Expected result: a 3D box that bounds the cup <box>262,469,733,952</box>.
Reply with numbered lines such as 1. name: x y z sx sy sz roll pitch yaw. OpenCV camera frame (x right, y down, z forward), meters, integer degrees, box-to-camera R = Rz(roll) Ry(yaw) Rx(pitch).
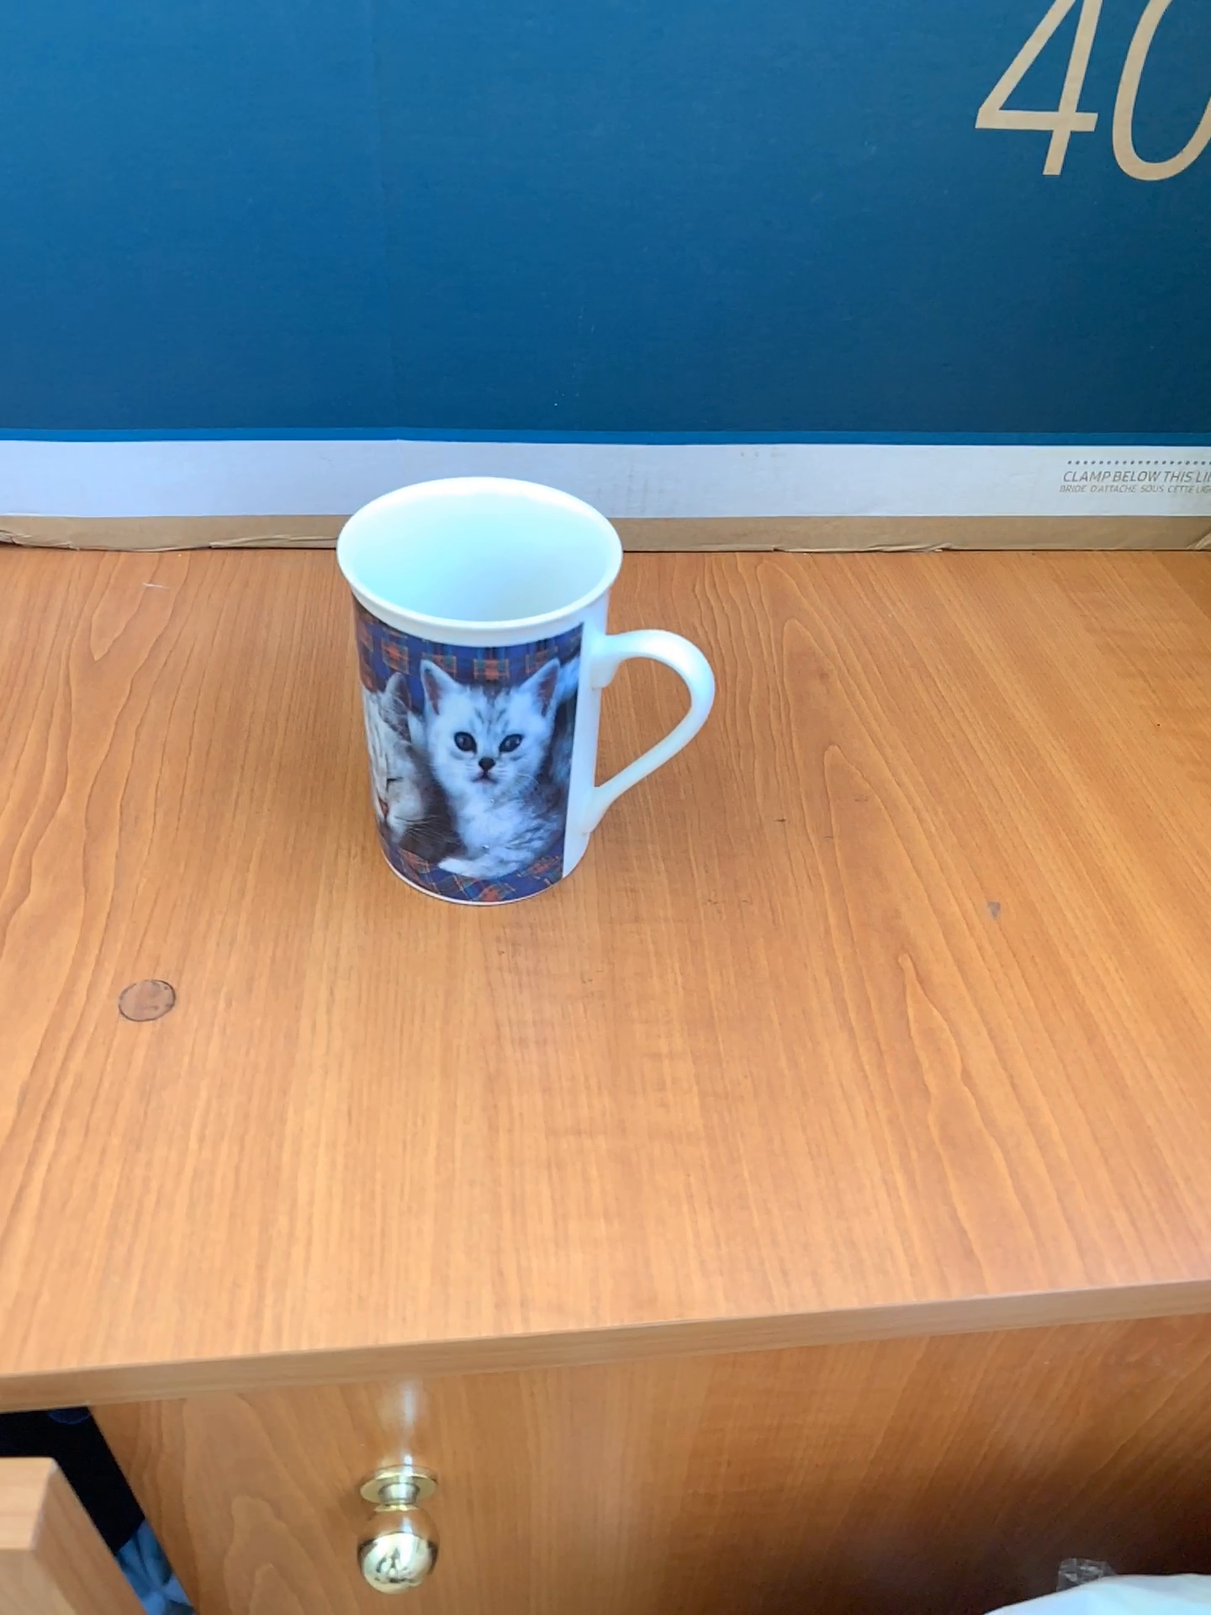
1. cup: -0.024 -0.027 0.352 0.110 0.100 0.080 5 41 2
